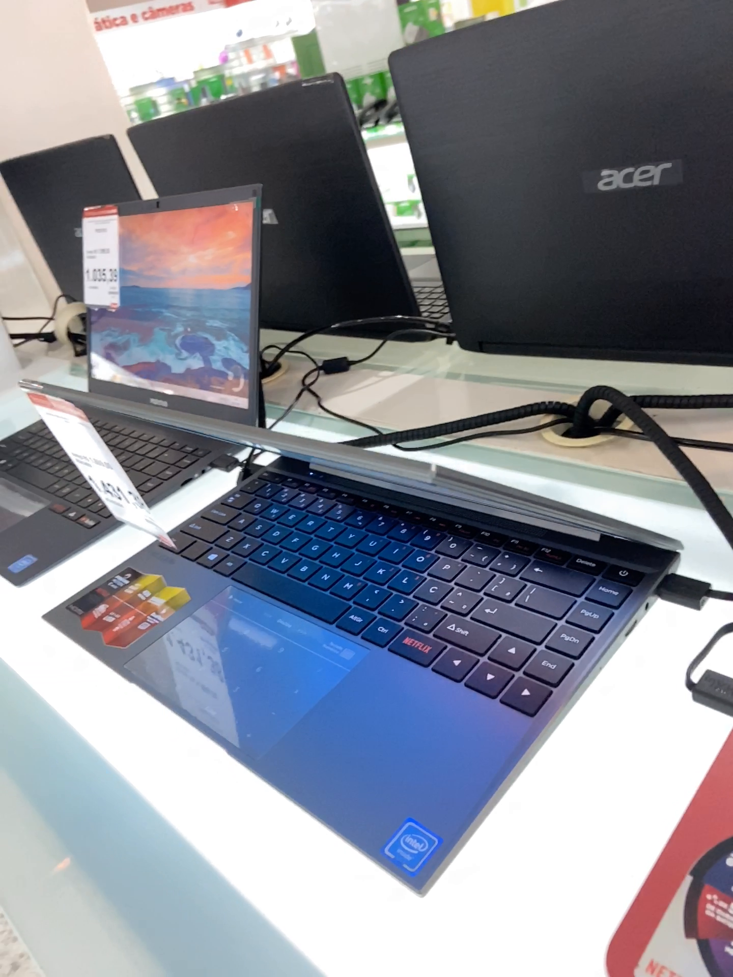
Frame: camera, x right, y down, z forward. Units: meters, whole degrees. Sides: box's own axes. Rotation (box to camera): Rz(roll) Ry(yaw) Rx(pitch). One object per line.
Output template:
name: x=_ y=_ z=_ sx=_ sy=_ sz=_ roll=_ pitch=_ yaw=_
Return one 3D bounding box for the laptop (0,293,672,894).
laptop: x=-0.047 y=0.002 z=0.407 sx=0.328 sy=0.139 sz=0.211 roll=14 pitch=41 yaw=43
